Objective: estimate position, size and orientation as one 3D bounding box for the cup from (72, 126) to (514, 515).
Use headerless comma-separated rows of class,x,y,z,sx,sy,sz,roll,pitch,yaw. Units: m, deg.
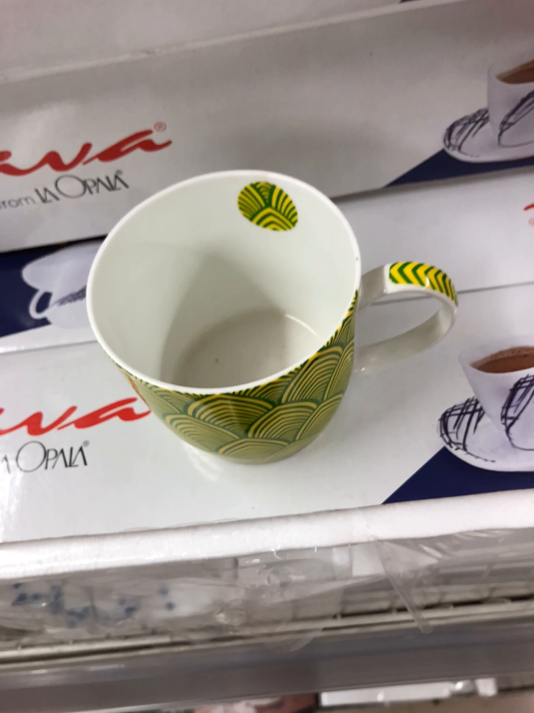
cup,0.005,-0.009,0.218,0.120,0.080,0.090,-11,59,2
